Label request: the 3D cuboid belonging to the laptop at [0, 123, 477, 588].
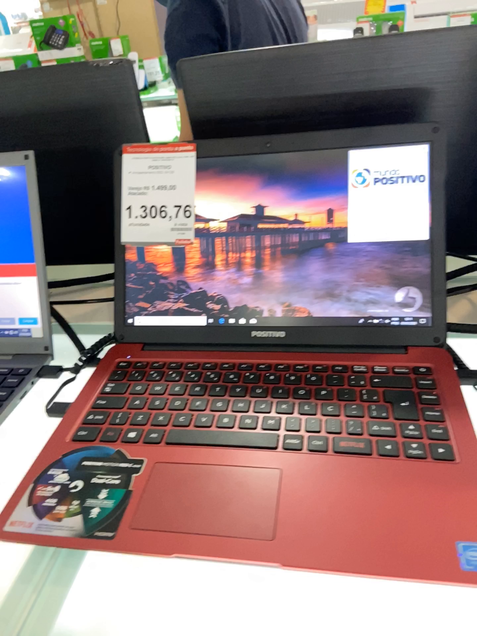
[{"bbox_3d":[0.010,-0.018,0.386,0.320,0.167,0.335,0,32,12],"label":"laptop"}]
